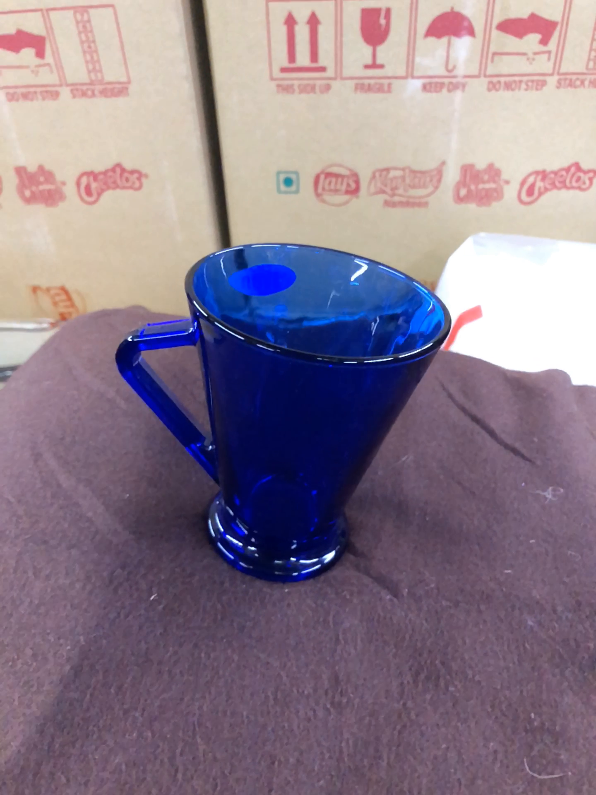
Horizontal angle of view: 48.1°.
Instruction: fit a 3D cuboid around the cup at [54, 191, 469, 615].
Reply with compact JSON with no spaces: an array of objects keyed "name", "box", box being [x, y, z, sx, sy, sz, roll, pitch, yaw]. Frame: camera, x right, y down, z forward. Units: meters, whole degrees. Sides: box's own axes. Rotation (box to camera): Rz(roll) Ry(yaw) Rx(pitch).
[{"name":"cup","box":[-0.010,0.003,0.236,0.110,0.109,0.070,12,41,6]}]
